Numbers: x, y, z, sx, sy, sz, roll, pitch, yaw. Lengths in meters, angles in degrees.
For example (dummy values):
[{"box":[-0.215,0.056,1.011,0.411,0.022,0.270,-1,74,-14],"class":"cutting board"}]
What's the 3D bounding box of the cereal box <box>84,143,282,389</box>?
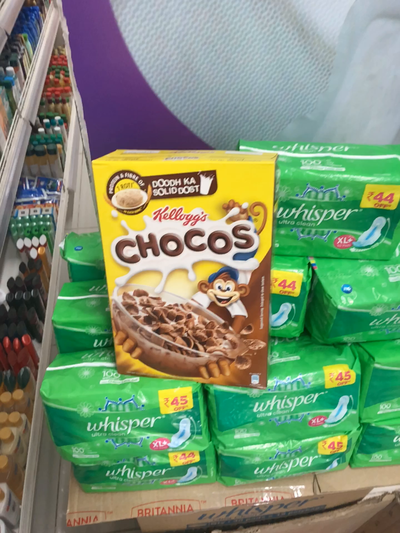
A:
[{"box":[-0.011,-0.002,0.505,0.190,0.259,0.080,3,23,11],"class":"cereal box"}]
